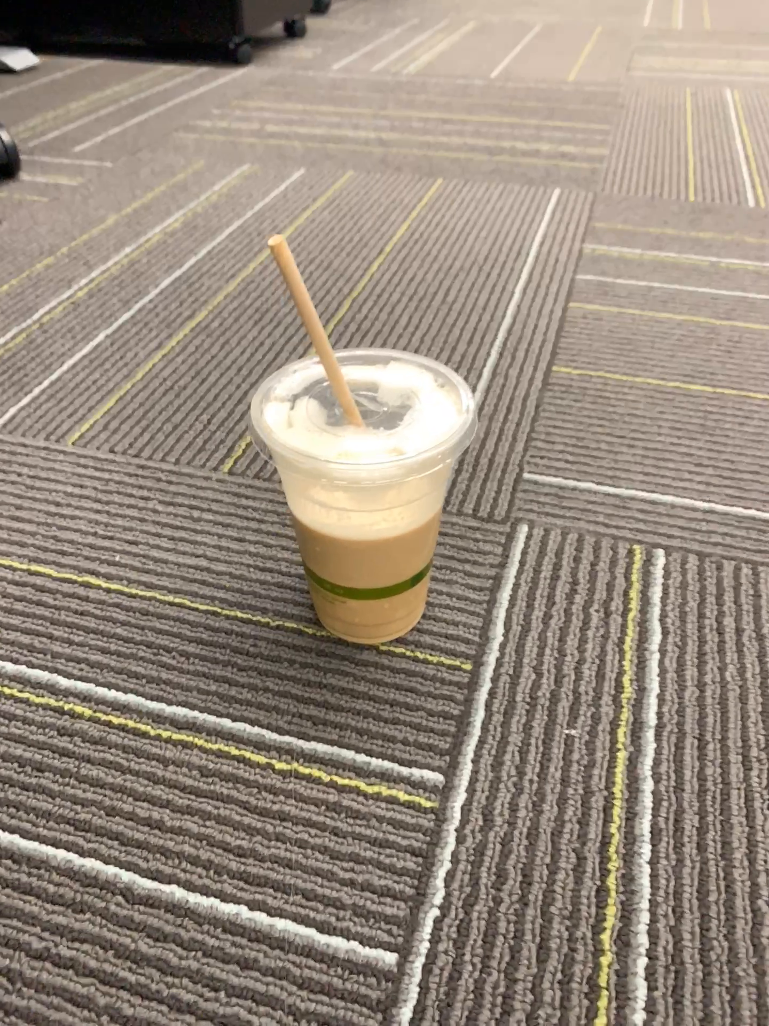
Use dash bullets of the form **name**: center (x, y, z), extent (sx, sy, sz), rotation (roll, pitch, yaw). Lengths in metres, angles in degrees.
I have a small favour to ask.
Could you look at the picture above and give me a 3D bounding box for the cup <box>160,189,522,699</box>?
- **cup**: center (-0.014, -0.029, 0.352), extent (0.090, 0.179, 0.100), rotation (31, 49, 34)
